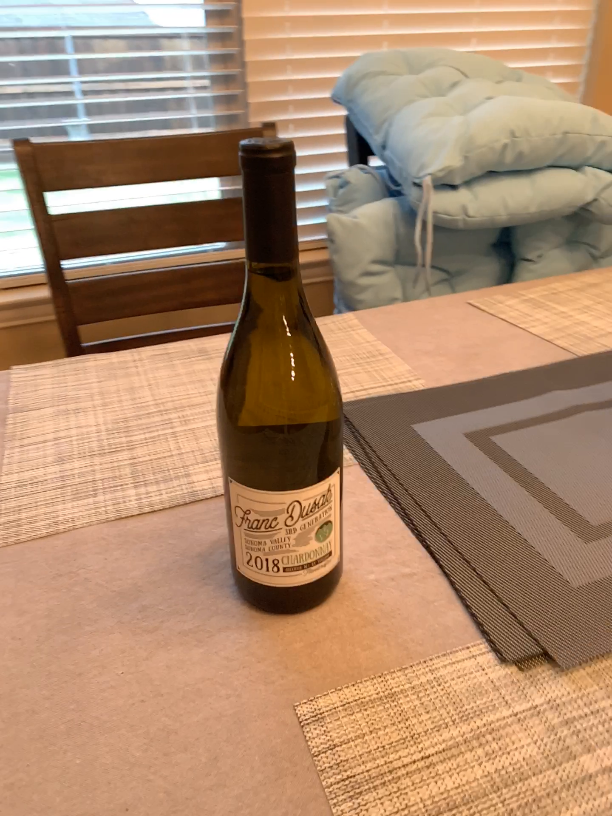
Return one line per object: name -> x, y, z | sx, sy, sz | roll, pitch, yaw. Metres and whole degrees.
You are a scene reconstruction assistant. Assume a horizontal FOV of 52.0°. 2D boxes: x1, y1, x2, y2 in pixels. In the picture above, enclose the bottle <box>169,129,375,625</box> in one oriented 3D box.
bottle -> -0.013, -0.005, 0.380 | 0.090, 0.288, 0.080 | -3, 29, -3
